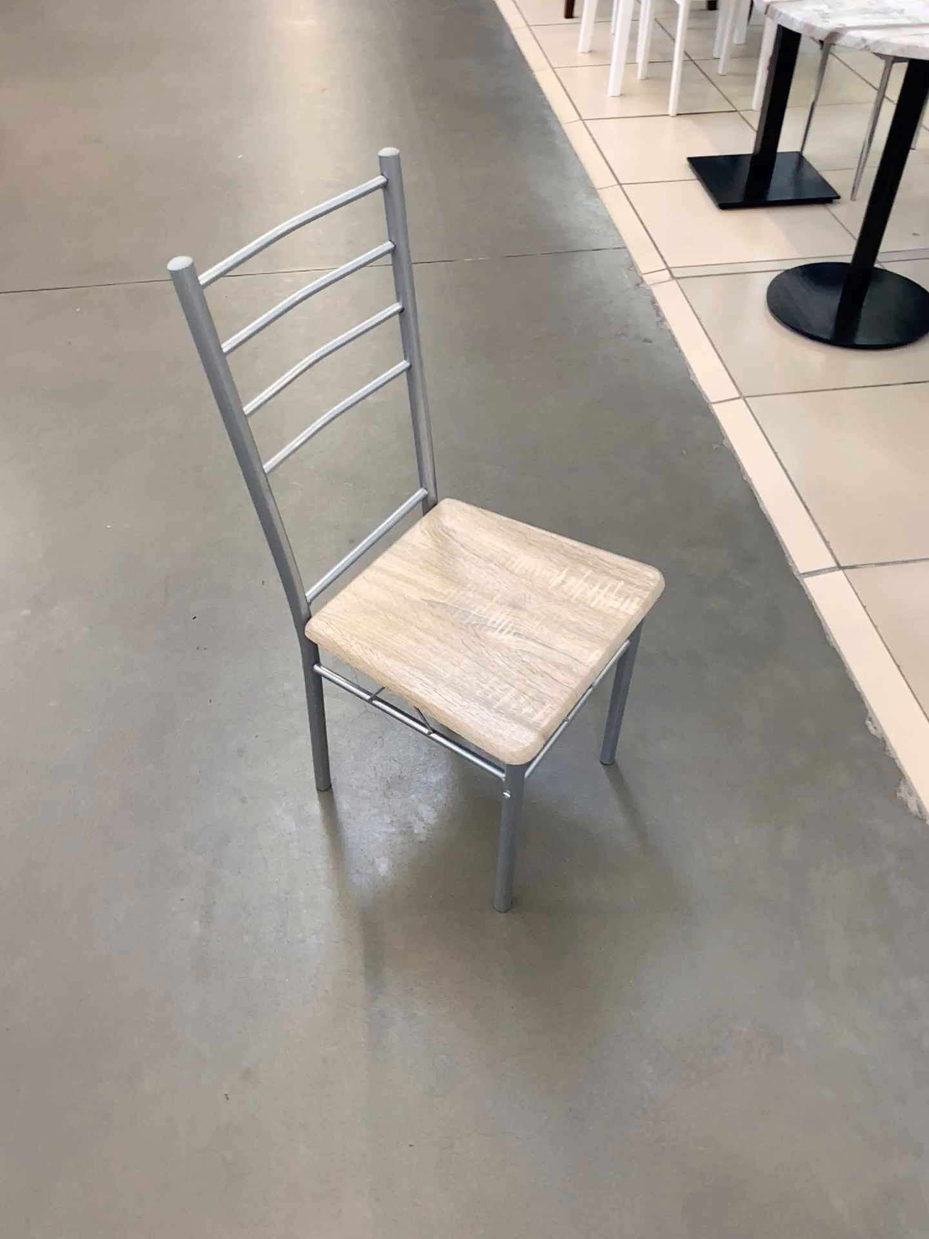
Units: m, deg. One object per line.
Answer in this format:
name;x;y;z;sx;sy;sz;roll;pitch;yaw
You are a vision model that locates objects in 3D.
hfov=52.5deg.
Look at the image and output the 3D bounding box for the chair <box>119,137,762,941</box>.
chair;-0.012;-0.067;1.212;0.471;0.836;0.411;27;52;25
